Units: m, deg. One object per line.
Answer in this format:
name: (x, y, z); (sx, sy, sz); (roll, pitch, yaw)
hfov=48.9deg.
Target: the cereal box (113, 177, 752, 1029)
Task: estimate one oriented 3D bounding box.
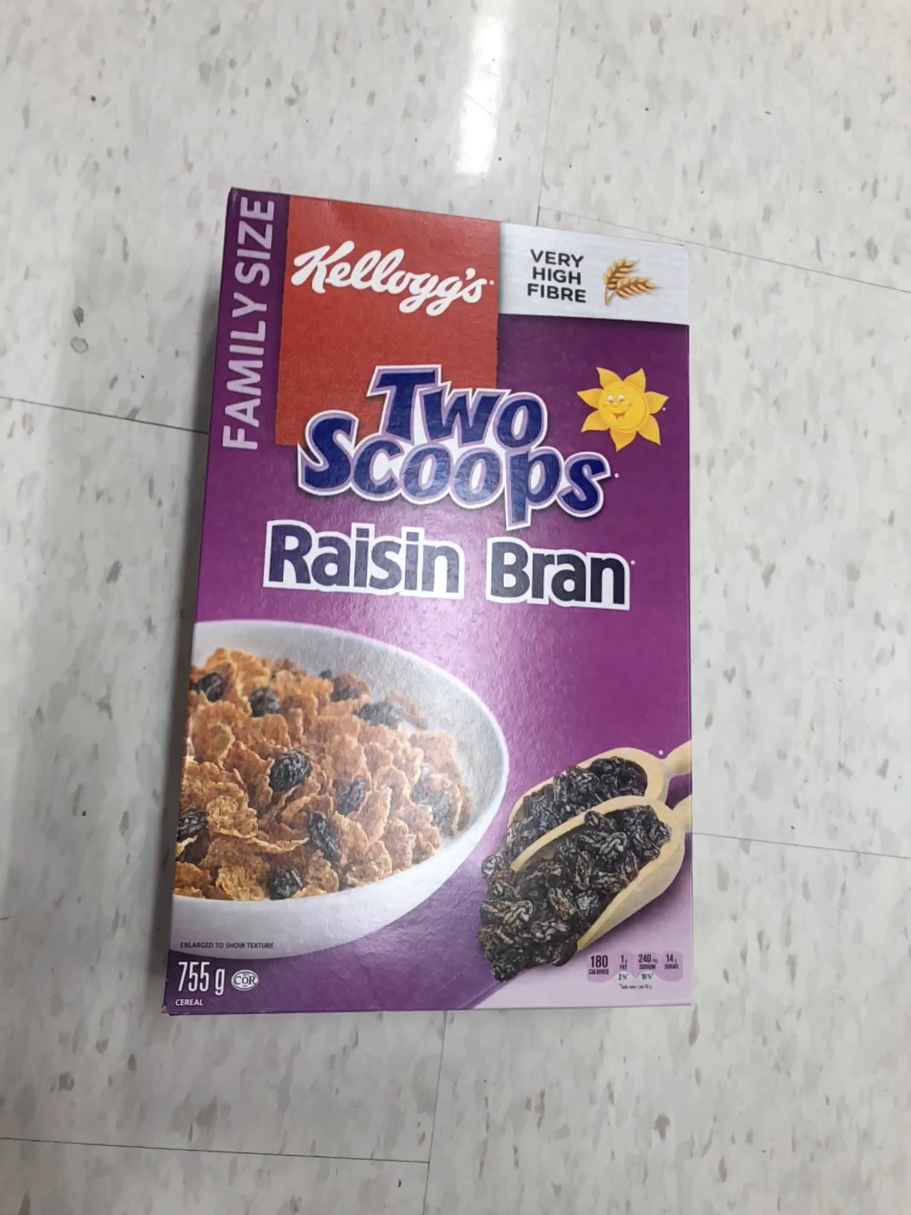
cereal box: (-0.005, 0.000, 0.406); (0.220, 0.080, 0.300); (3, 79, -11)
